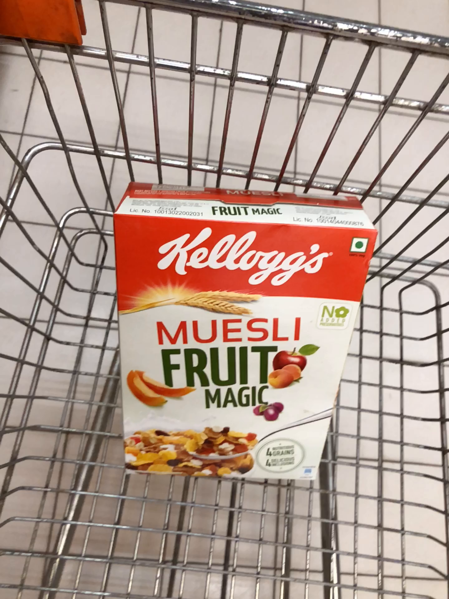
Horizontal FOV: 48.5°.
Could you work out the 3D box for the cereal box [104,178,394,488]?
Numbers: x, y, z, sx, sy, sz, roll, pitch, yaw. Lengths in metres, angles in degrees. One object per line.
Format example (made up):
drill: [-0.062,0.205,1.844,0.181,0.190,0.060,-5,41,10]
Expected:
cereal box: [0.005,0.043,0.442,0.200,0.269,0.080,3,31,-6]
